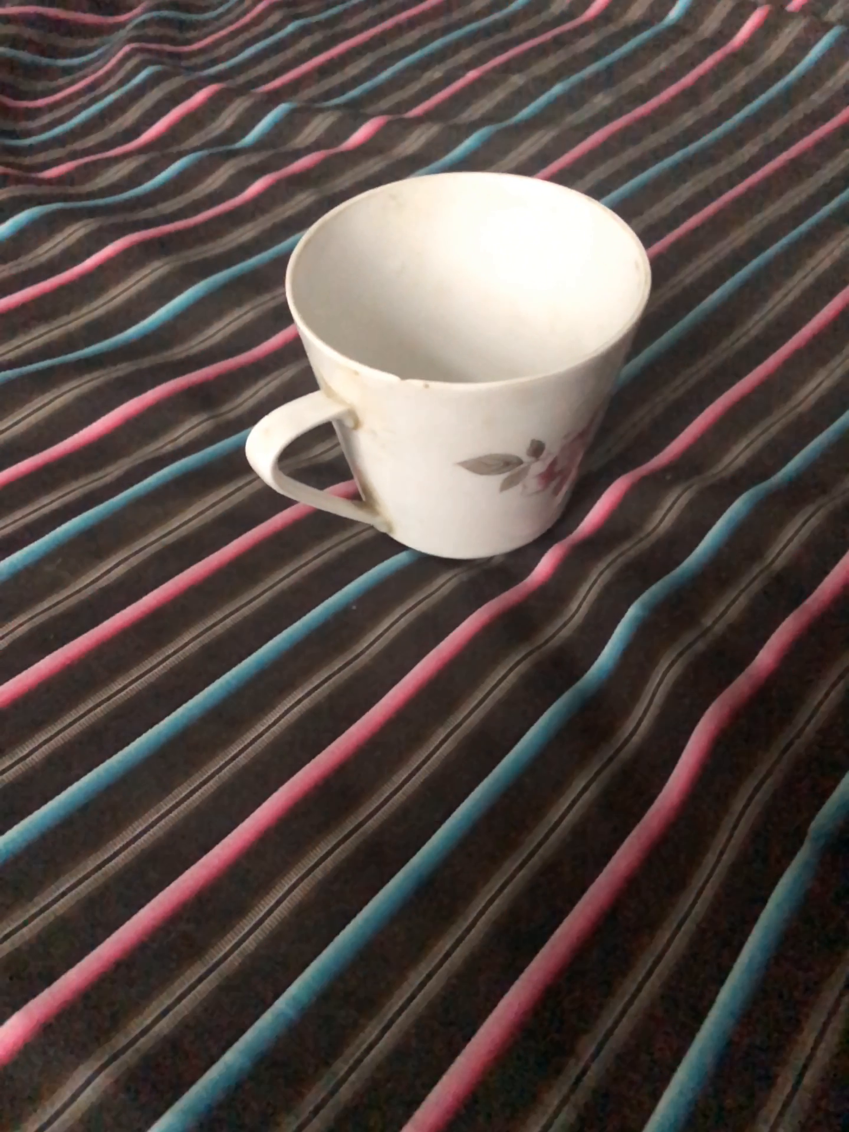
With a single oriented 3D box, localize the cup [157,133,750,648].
[{"bbox_3d":[0.005,-0.043,0.211,0.094,0.049,0.073,-28,58,-20],"label":"cup"}]
